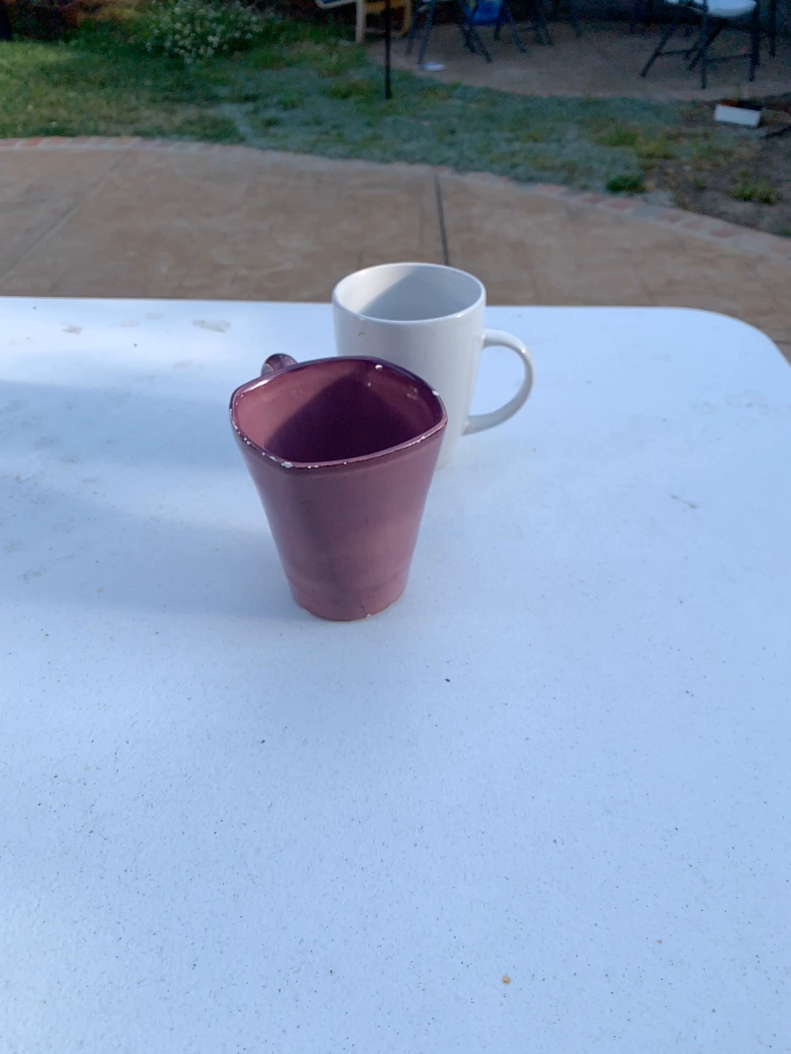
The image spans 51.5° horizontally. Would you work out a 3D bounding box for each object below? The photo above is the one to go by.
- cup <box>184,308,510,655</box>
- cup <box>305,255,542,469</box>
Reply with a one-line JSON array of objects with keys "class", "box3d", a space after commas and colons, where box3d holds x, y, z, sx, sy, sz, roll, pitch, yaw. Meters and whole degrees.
[{"class": "cup", "box3d": [-0.027, -0.030, 0.395, 0.100, 0.089, 0.131, -18, 42, -21]}, {"class": "cup", "box3d": [0.020, -0.101, 0.488, 0.120, 0.080, 0.101, 6, 39, 8]}]
